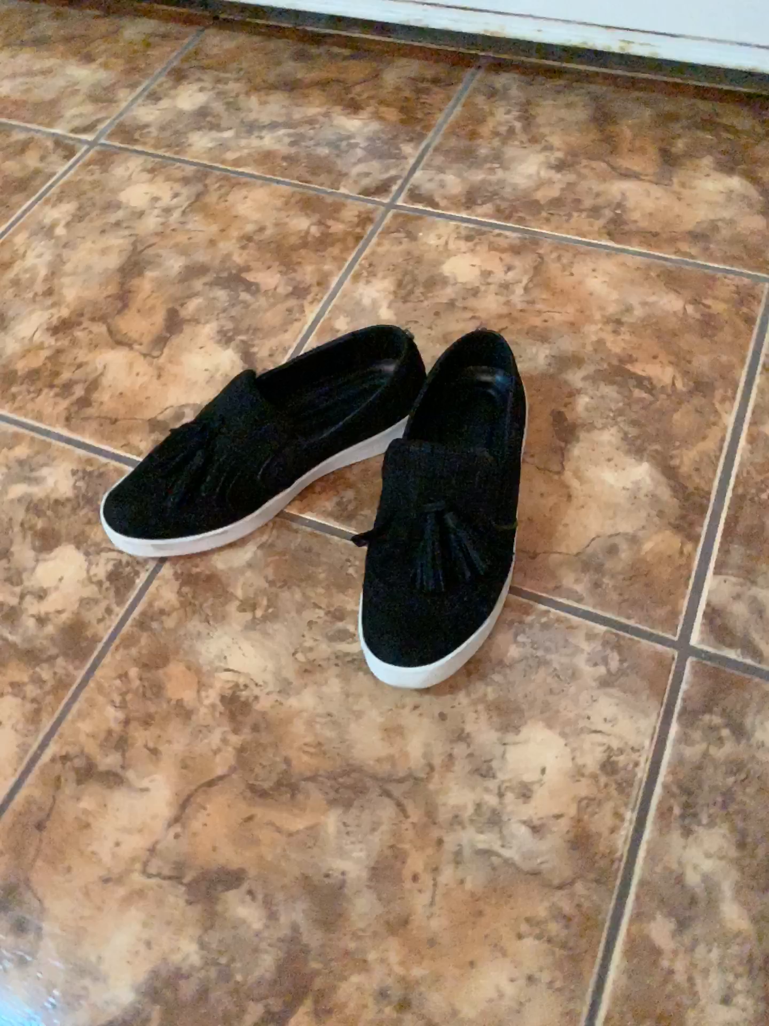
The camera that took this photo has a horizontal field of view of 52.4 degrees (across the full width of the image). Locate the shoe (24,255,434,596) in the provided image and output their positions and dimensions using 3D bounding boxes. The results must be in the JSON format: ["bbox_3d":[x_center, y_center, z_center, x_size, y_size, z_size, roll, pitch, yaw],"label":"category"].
[{"bbox_3d":[-0.096,-0.065,0.545,0.250,0.094,0.098,-31,59,-15],"label":"shoe"}]

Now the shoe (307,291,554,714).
[{"bbox_3d":[0.039,-0.016,0.500,0.097,0.094,0.250,9,58,11],"label":"shoe"}]
